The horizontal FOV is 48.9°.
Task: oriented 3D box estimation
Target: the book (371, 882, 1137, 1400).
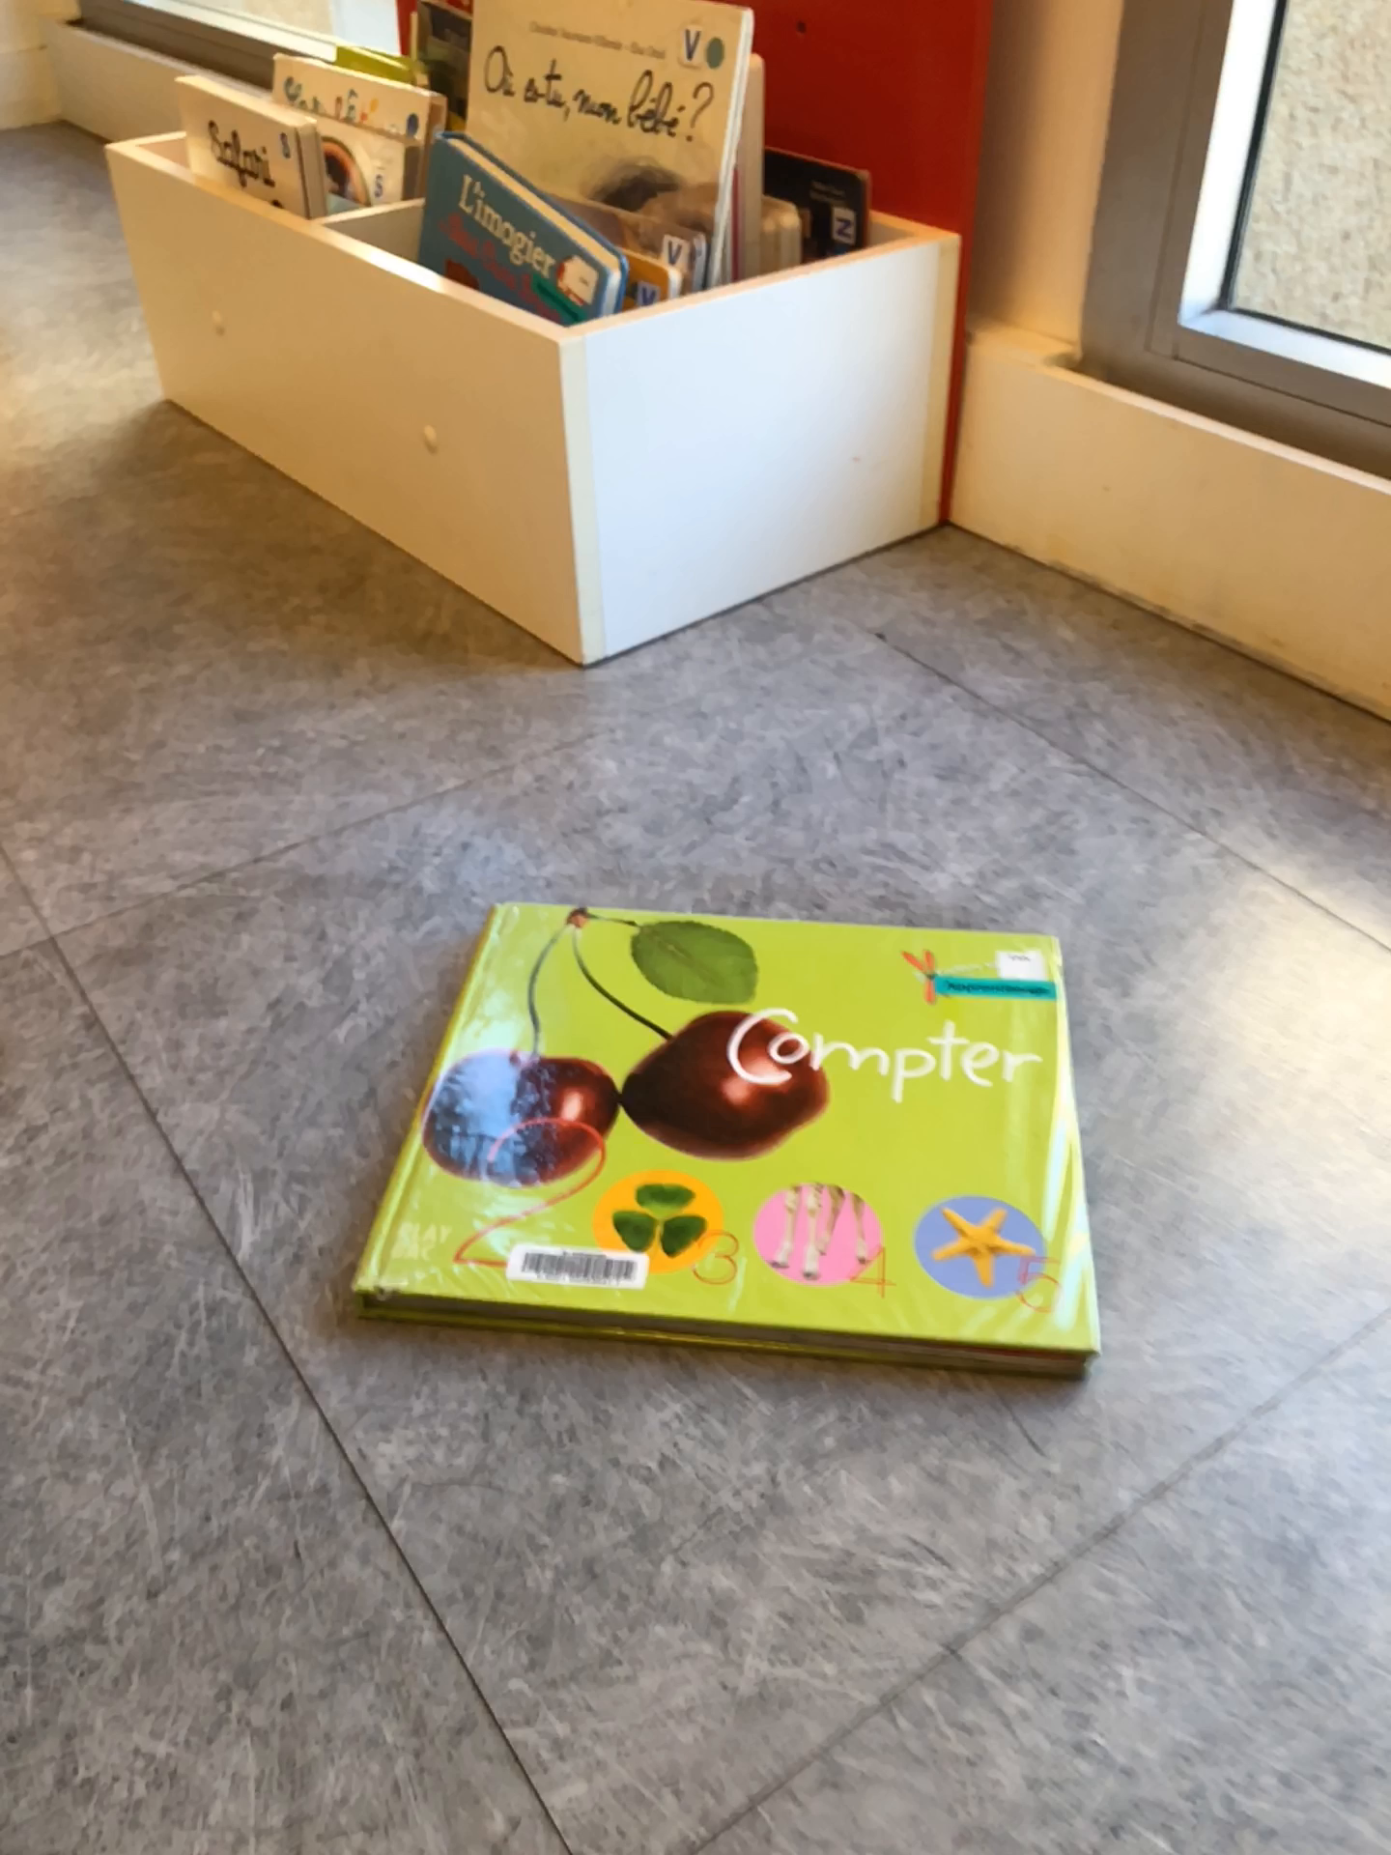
[{"bbox_3d":[0.030,0.068,0.598,0.255,0.021,0.223,4,41,6],"label":"book"}]
